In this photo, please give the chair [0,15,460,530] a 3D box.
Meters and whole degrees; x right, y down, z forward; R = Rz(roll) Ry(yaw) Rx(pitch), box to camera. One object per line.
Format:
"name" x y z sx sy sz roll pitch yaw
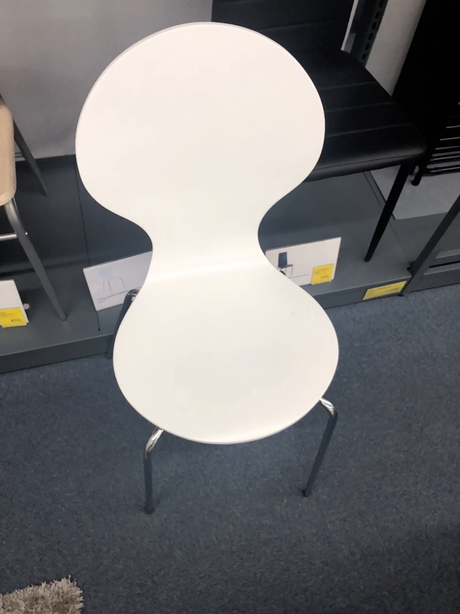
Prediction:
"chair" -0.030 0.009 1.016 0.560 0.818 0.641 -5 60 -8
